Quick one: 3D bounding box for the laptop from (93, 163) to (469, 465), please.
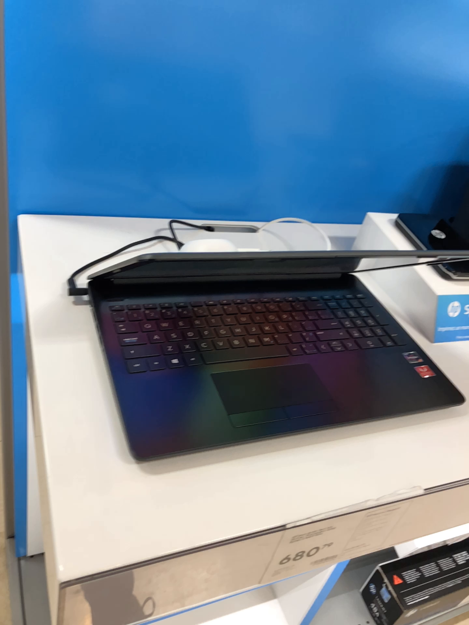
[{"bbox_3d":[0.068,-0.022,0.512,0.355,0.130,0.243,-3,38,-28],"label":"laptop"}]
